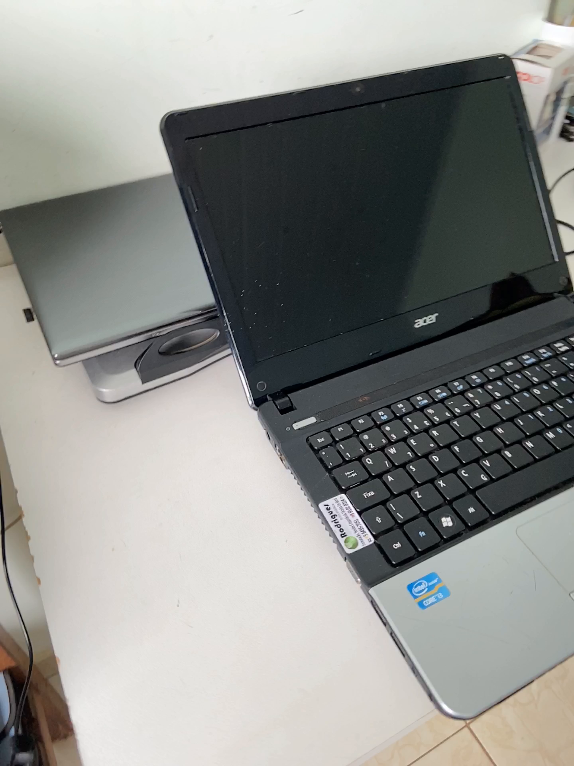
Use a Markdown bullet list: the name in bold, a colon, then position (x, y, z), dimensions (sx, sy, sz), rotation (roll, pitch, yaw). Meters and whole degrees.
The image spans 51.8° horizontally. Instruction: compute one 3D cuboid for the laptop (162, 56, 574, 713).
- **laptop**: position (0.145, -0.069, 0.419), dimensions (0.332, 0.163, 0.397), rotation (-19, 47, -19)
